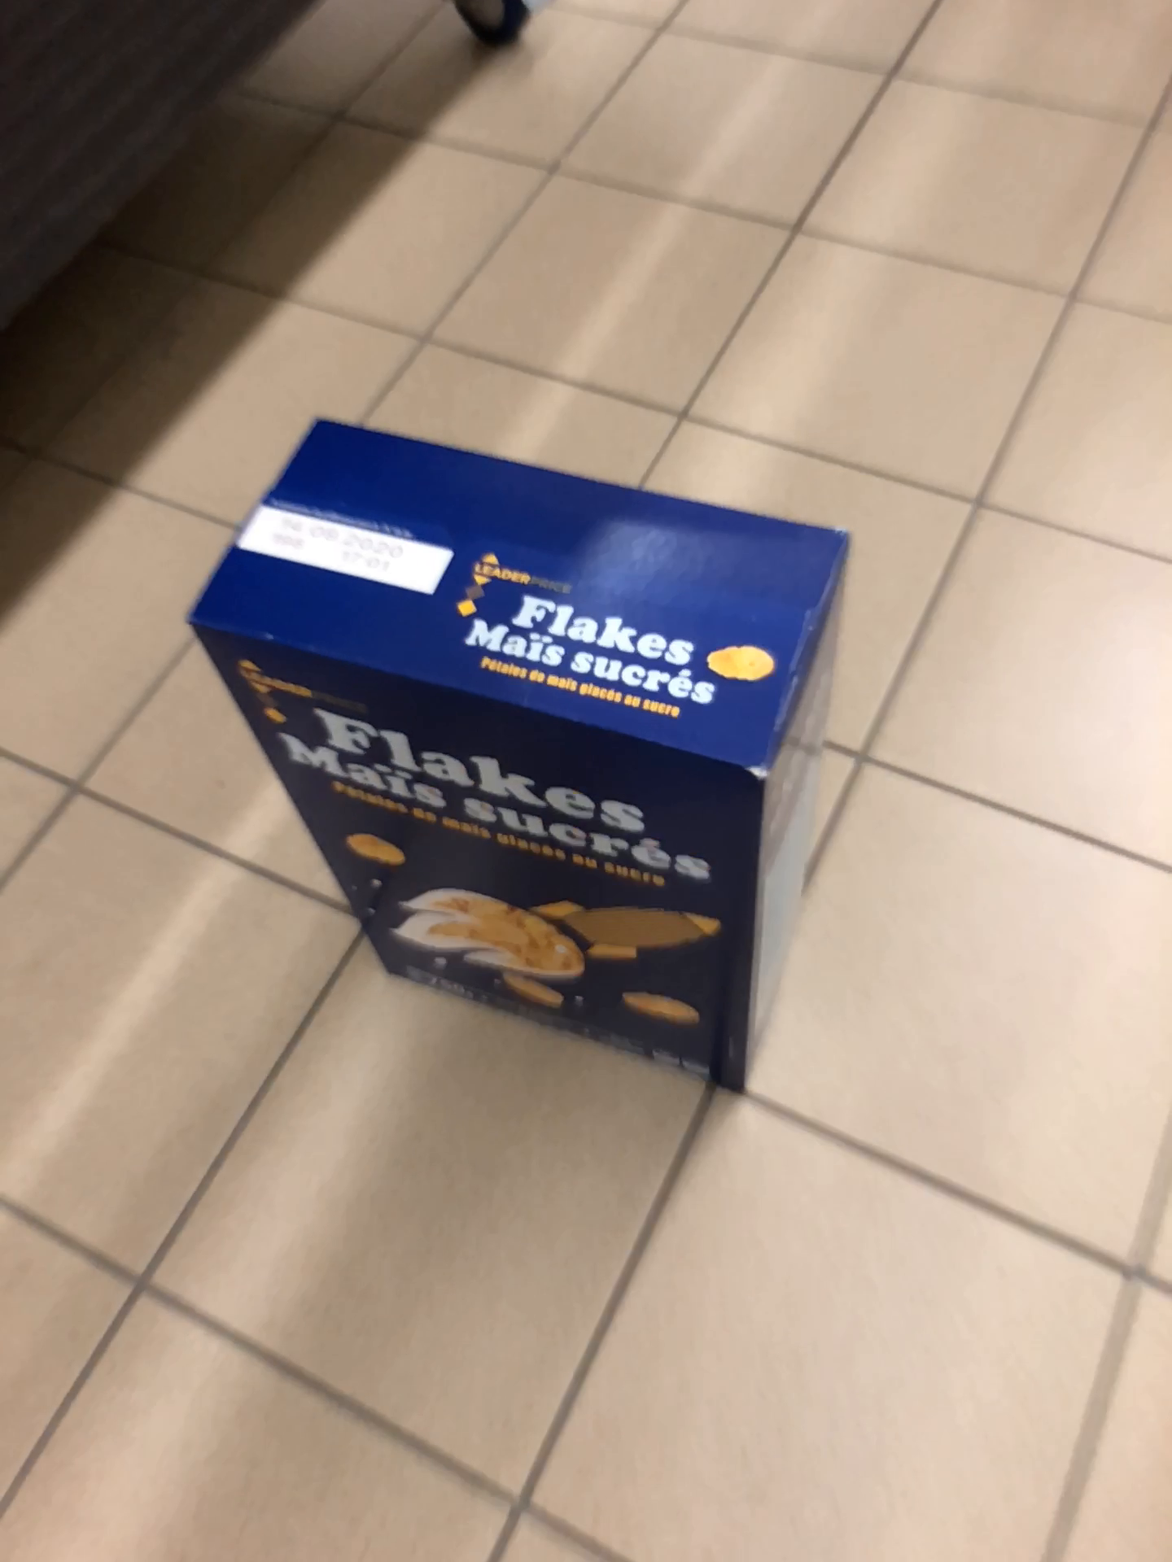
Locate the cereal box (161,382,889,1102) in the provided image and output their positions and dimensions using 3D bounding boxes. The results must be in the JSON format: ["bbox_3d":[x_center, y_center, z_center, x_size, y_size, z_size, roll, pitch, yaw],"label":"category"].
[{"bbox_3d":[-0.006,0.006,0.542,0.210,0.309,0.100,16,62,15],"label":"cereal box"}]
